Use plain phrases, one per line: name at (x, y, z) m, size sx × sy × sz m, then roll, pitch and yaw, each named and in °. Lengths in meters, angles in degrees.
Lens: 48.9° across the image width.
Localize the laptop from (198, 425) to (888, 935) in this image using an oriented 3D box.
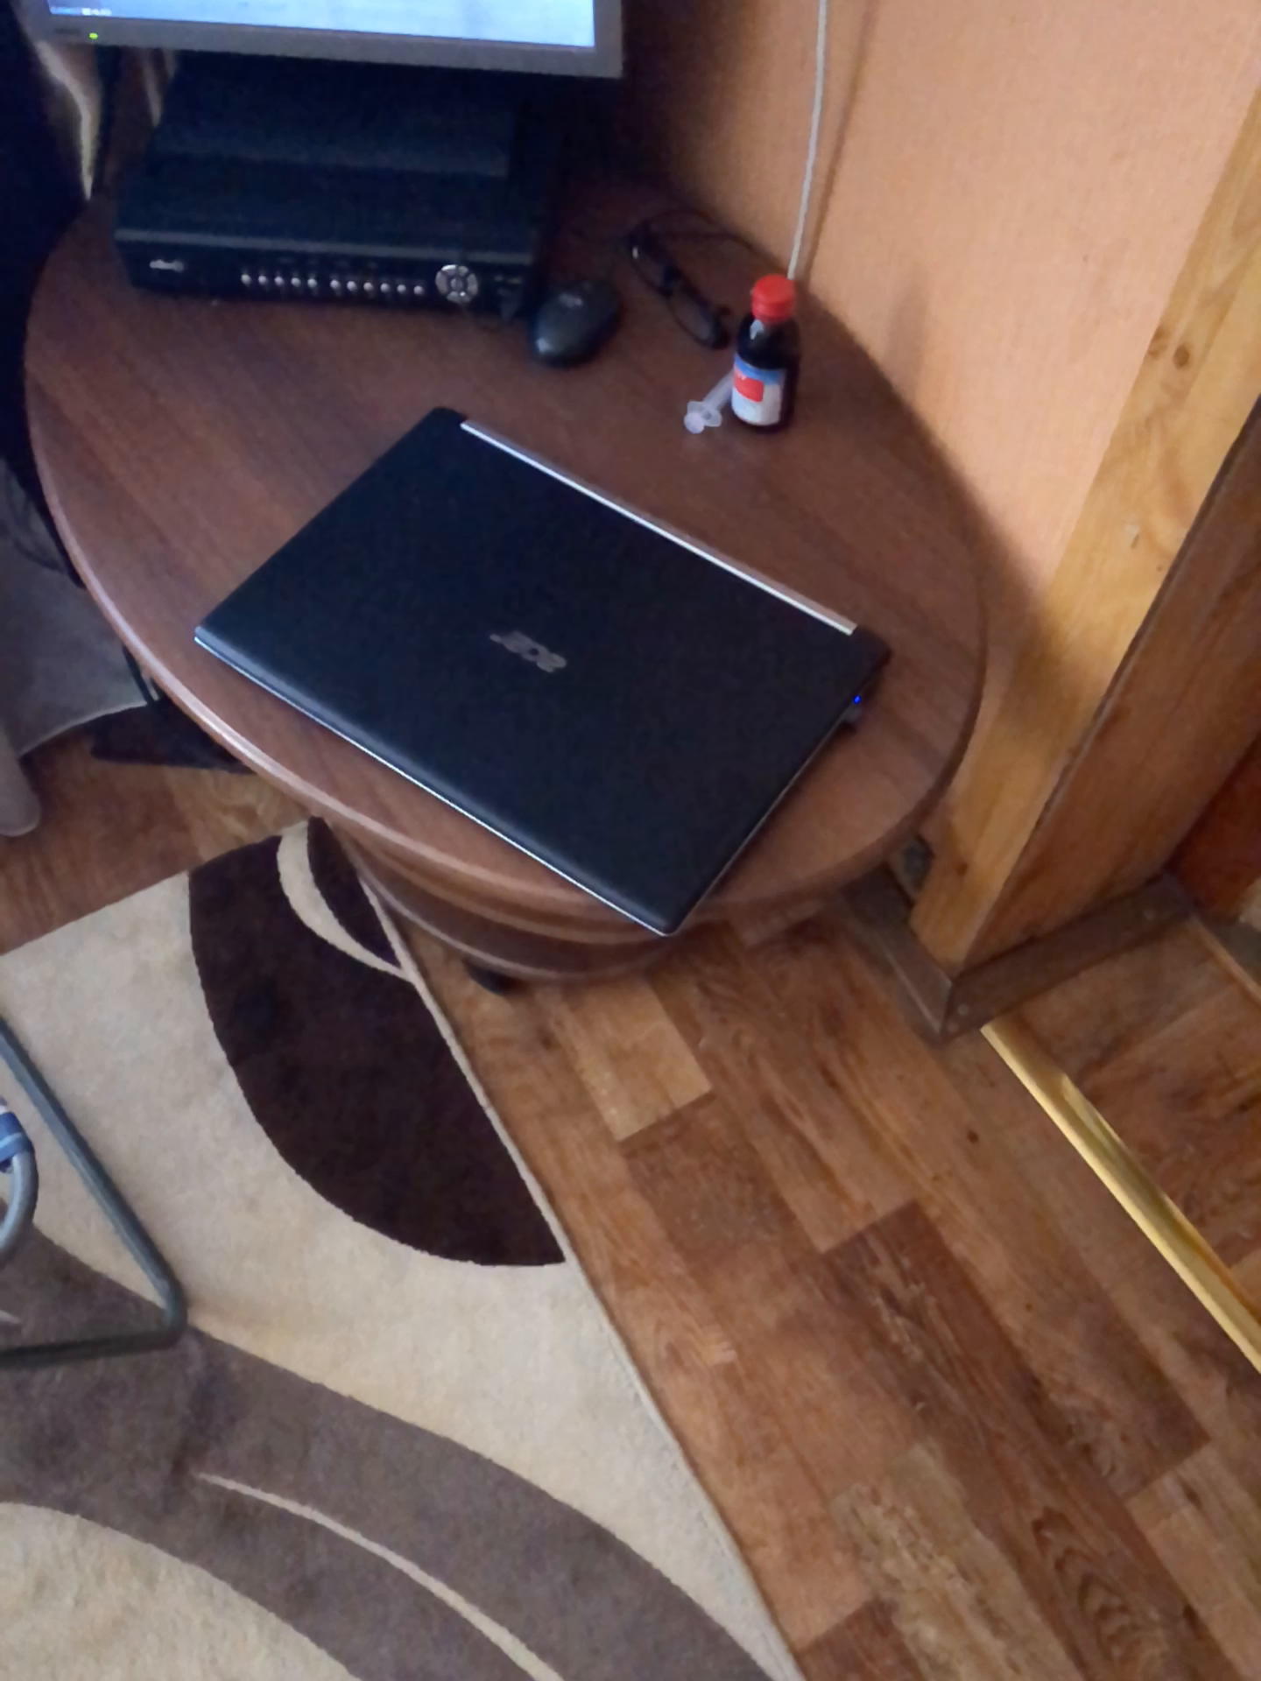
laptop at (-0.056, -0.121, 0.883) m, size 0.363 × 0.004 × 0.240 m, roll 32°, pitch 64°, yaw 17°
